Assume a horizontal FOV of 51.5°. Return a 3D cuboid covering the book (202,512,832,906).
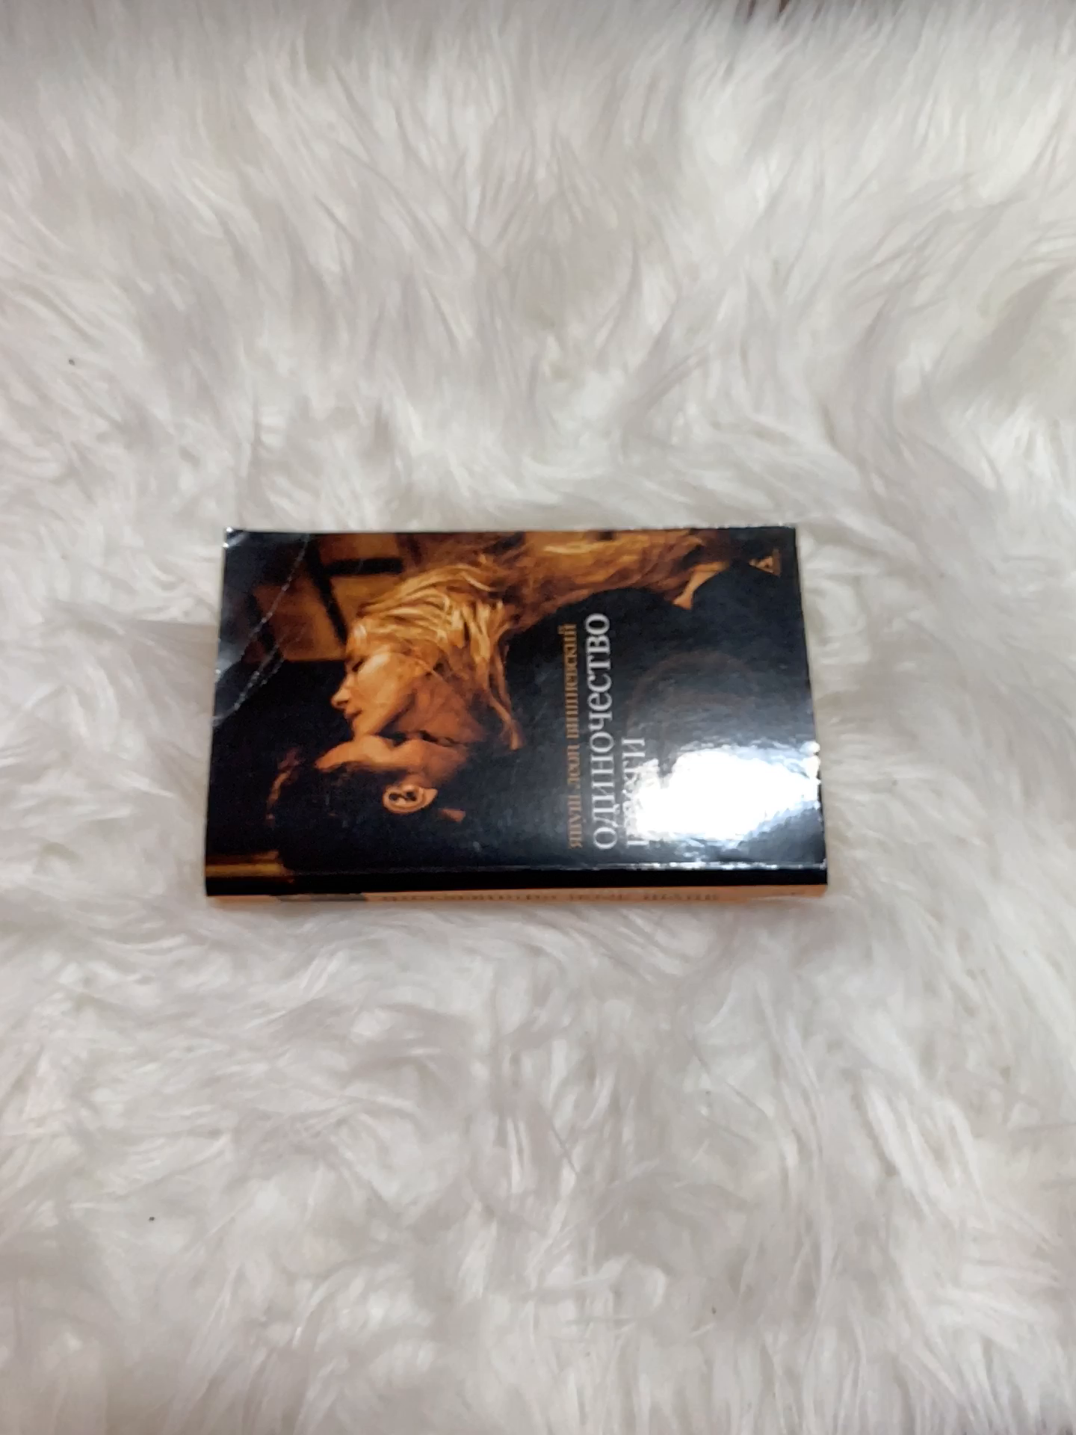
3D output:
[{"bbox_3d":[-0.007,-0.003,0.344,0.176,0.030,0.113,-1,73,-2],"label":"book"}]
